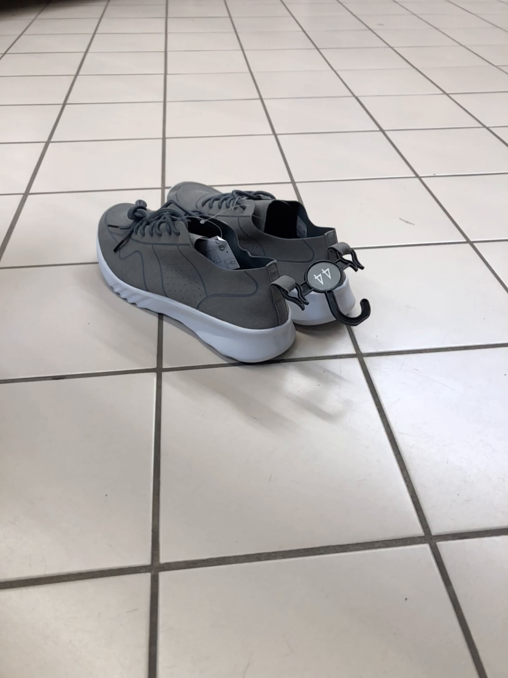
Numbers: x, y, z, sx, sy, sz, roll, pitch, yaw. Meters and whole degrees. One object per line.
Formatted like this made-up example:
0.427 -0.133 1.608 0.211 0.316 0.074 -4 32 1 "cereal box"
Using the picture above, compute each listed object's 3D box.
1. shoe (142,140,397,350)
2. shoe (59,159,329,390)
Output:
0.004 -0.121 0.634 0.111 0.099 0.290 -28 48 -30 "shoe"
-0.072 -0.084 0.588 0.111 0.099 0.290 -31 49 -32 "shoe"
